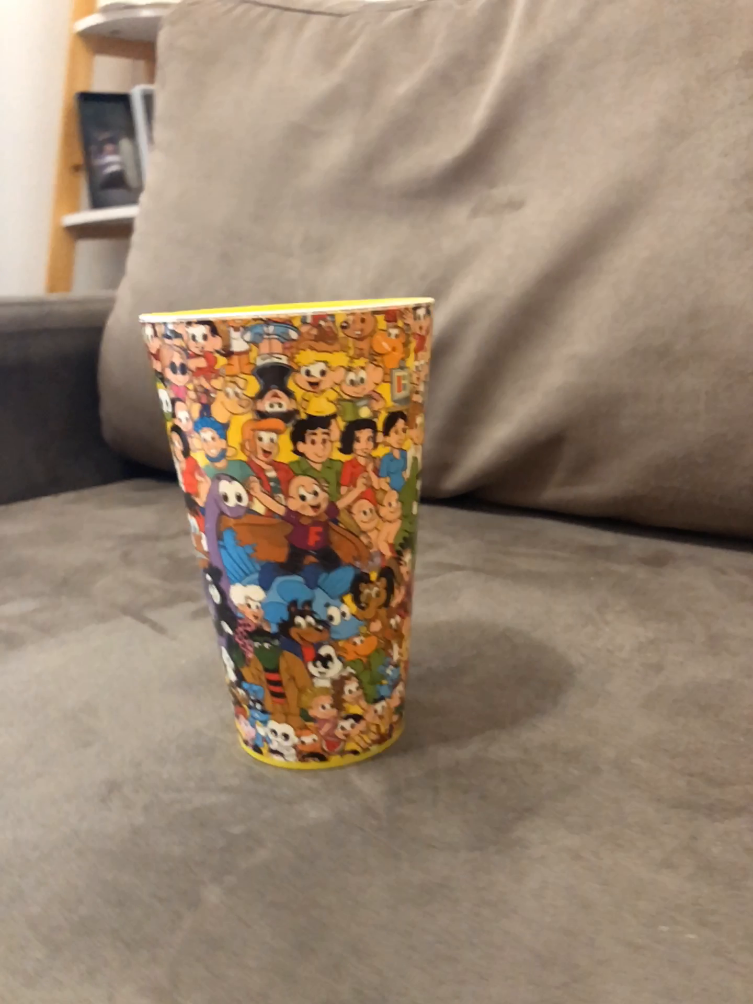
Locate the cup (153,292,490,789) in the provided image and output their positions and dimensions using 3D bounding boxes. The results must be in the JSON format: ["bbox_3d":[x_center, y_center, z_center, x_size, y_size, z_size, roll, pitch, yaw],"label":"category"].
[{"bbox_3d":[-0.022,0.003,0.290,0.090,0.139,0.090,-3,12,1],"label":"cup"}]
